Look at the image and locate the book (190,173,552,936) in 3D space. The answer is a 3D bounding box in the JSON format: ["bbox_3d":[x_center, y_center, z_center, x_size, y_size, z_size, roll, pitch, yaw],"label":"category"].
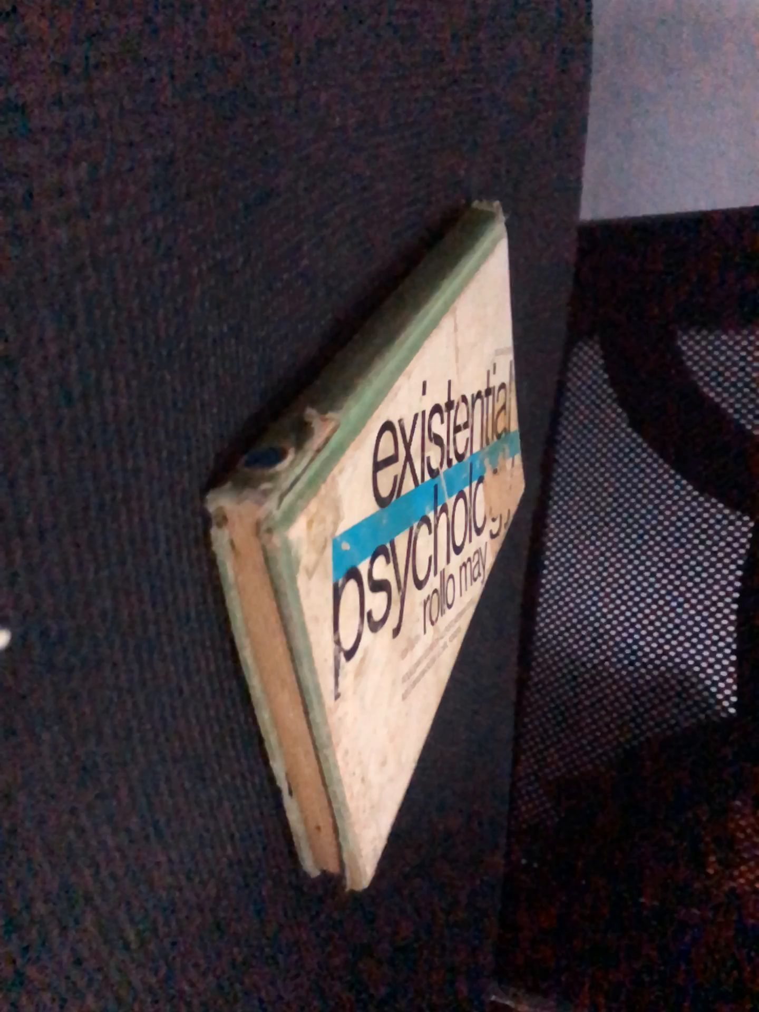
[{"bbox_3d":[0.020,-0.005,0.246,0.201,0.020,0.126,-58,148,-49],"label":"book"}]
